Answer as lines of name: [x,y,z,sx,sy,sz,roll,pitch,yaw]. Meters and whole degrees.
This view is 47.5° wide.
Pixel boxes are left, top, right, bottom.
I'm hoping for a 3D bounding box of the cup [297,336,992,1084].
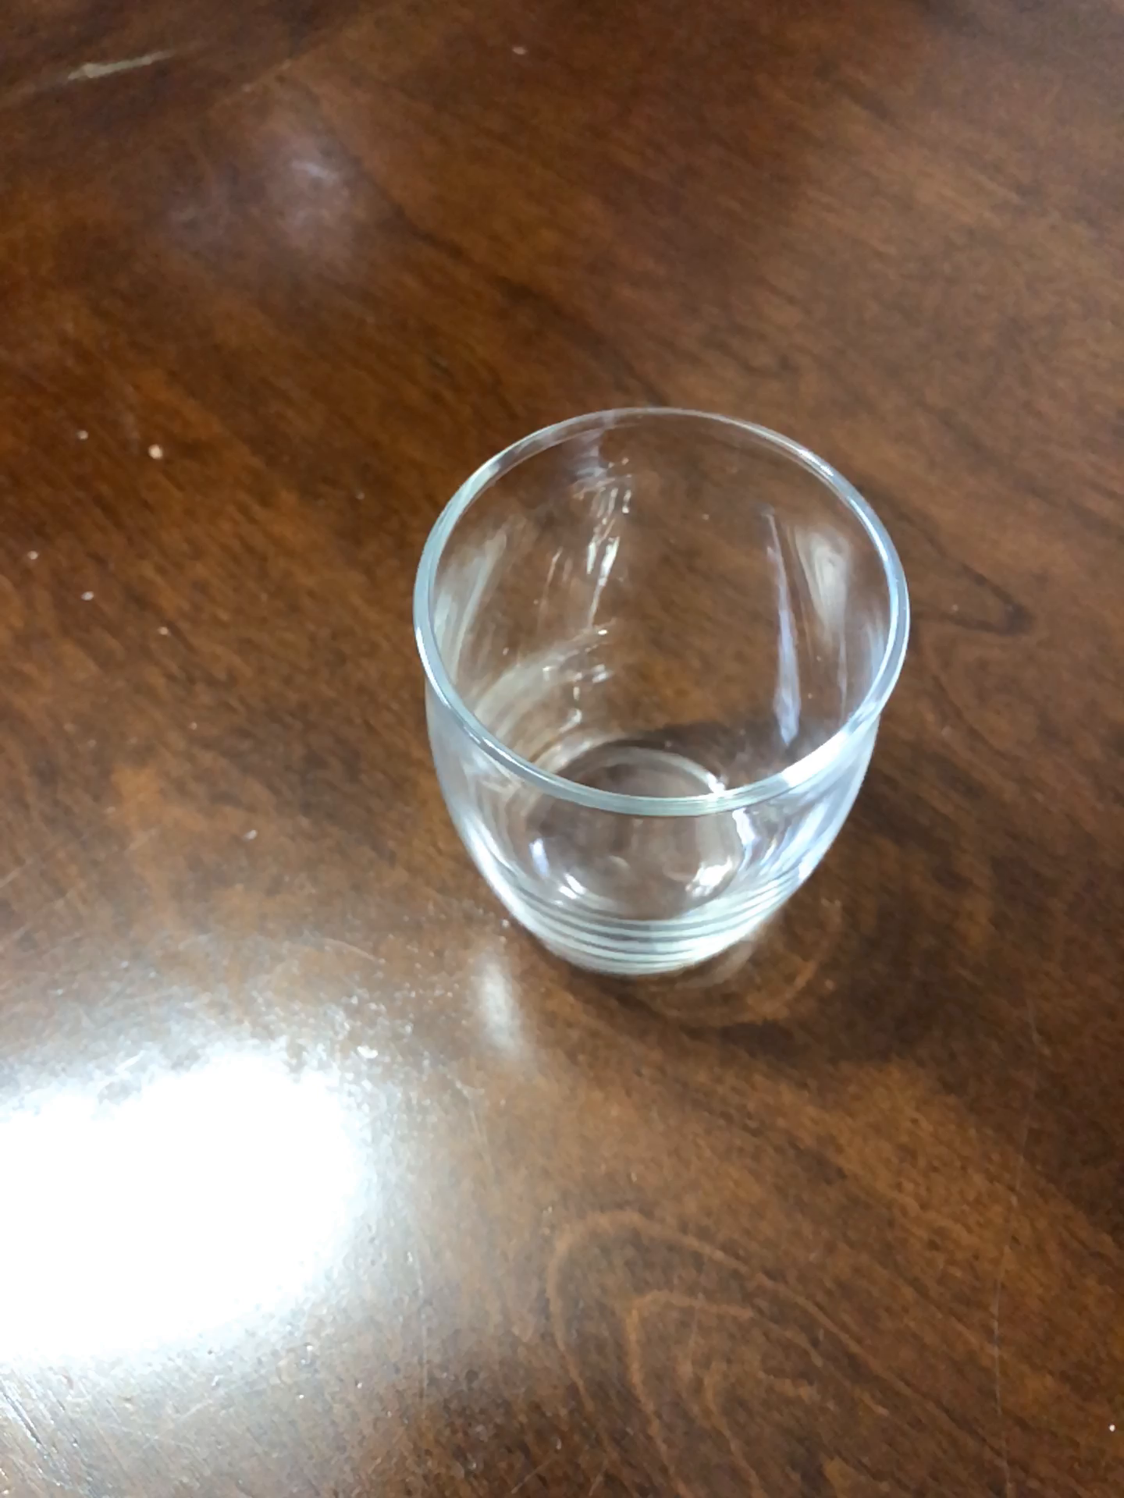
cup: [0.012,-0.002,0.178,0.060,0.070,0.060,0,62,1]
